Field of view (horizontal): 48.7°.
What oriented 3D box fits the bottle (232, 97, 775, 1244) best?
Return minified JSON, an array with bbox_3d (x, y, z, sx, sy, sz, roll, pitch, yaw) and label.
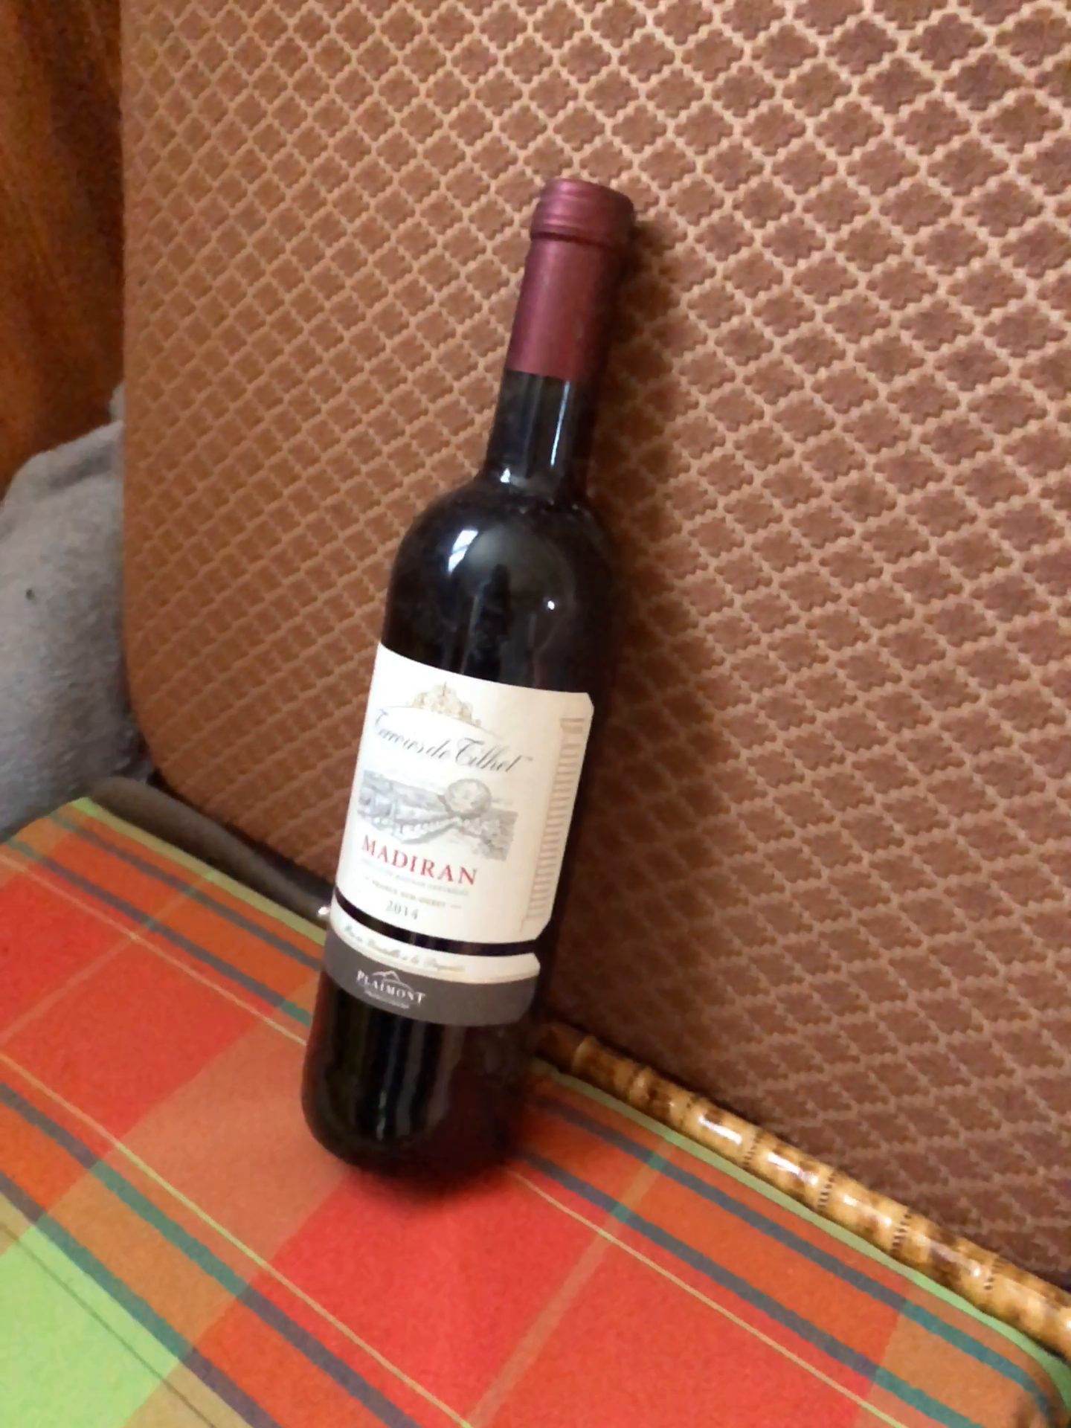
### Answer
[{"bbox_3d":[-0.011,-0.010,0.359,0.080,0.299,0.090,16,14,23],"label":"bottle"}]
